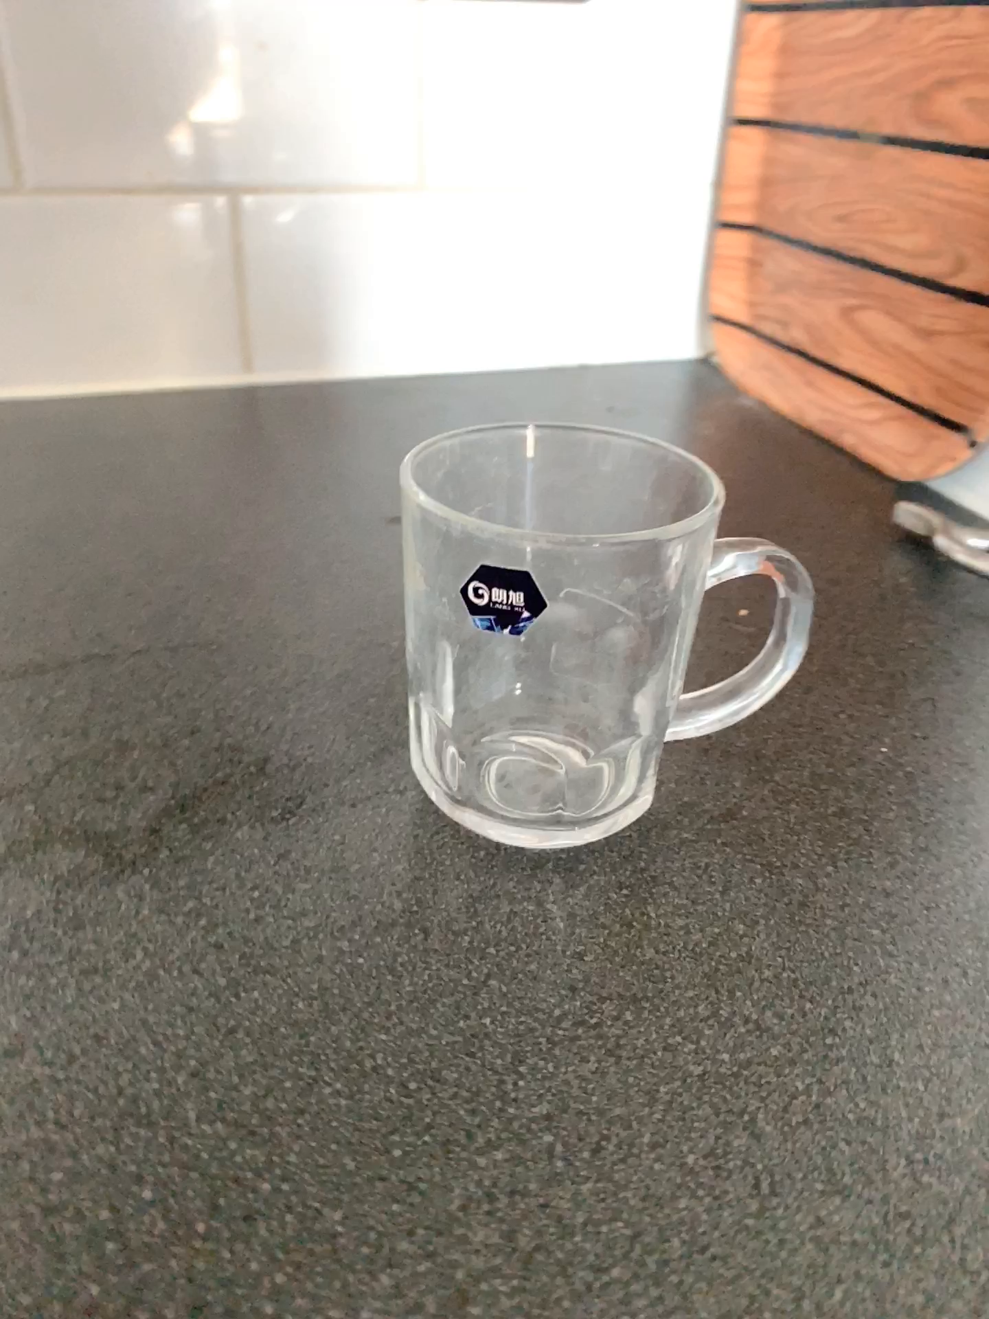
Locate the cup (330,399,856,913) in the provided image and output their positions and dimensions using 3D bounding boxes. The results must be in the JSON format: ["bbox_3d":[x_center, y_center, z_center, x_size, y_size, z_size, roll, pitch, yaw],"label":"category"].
[{"bbox_3d":[0.019,-0.007,0.261,0.100,0.090,0.071,-12,33,-22],"label":"cup"}]
